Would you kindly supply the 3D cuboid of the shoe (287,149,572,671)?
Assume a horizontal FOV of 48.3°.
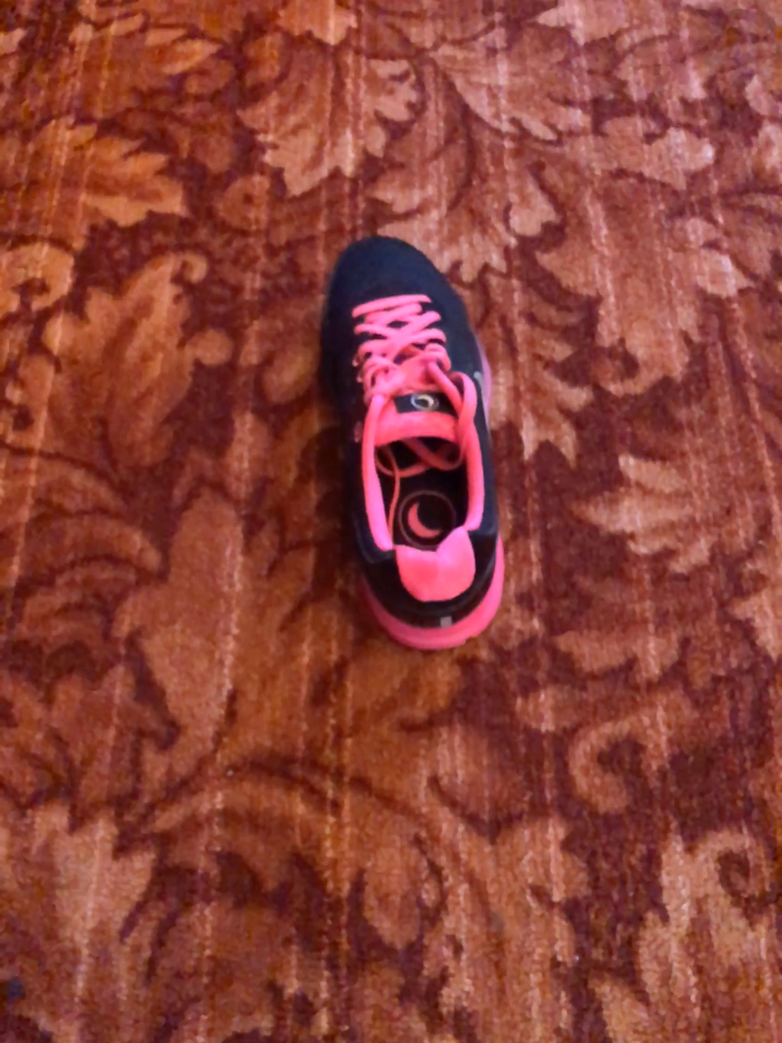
[{"bbox_3d":[0.013,-0.060,0.466,0.110,0.100,0.251,-6,67,1],"label":"shoe"}]
